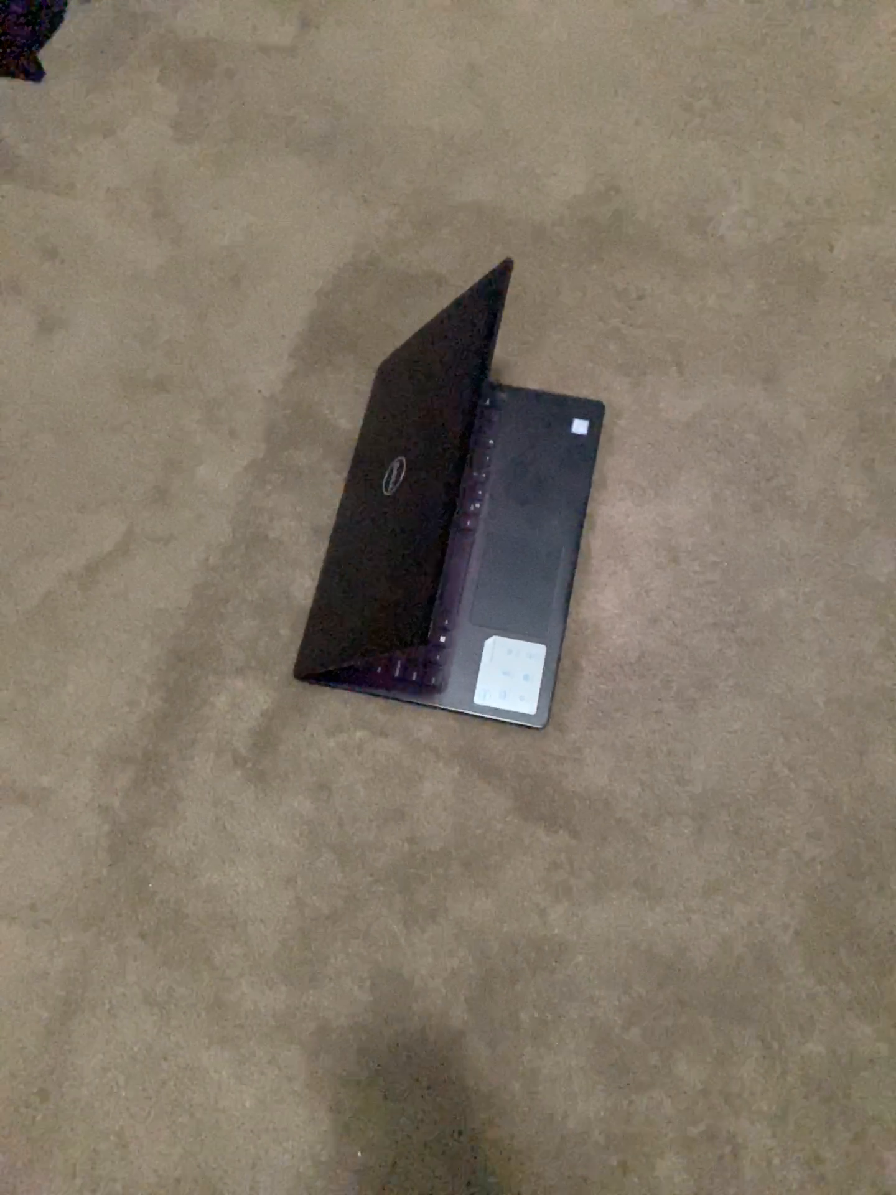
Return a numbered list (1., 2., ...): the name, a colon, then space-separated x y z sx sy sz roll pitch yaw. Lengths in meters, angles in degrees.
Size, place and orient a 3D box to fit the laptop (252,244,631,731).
1. laptop: 0.011 -0.101 0.879 0.251 0.202 0.377 12 69 5
